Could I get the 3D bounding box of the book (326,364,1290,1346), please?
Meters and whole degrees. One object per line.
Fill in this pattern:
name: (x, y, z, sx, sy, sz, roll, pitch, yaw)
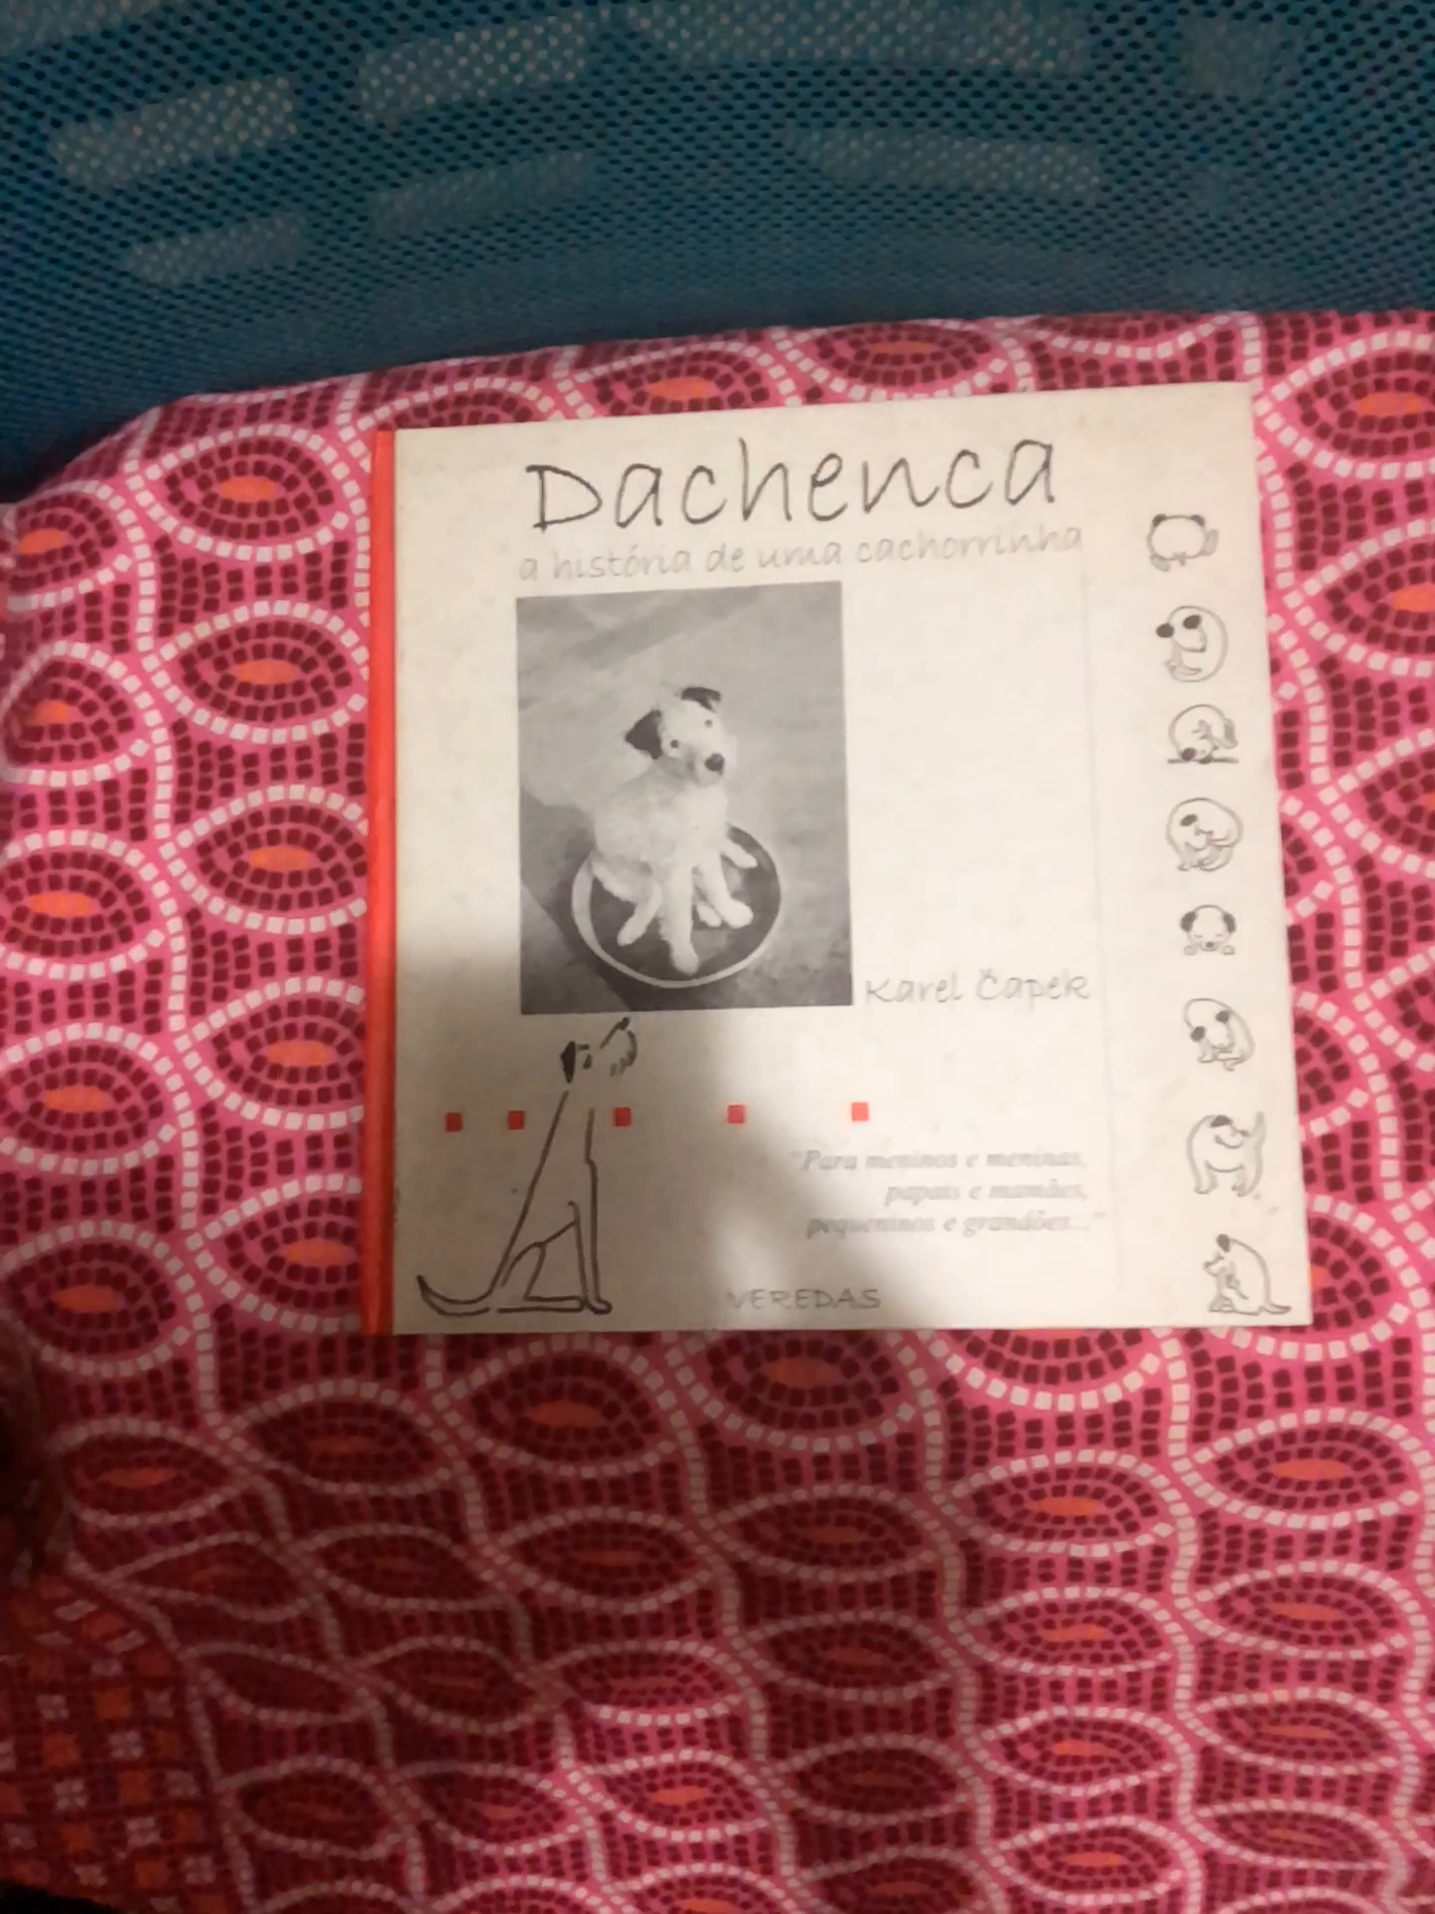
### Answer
book: (0.016, -0.023, 0.368, 0.205, 0.027, 0.216, -2, 81, 4)
